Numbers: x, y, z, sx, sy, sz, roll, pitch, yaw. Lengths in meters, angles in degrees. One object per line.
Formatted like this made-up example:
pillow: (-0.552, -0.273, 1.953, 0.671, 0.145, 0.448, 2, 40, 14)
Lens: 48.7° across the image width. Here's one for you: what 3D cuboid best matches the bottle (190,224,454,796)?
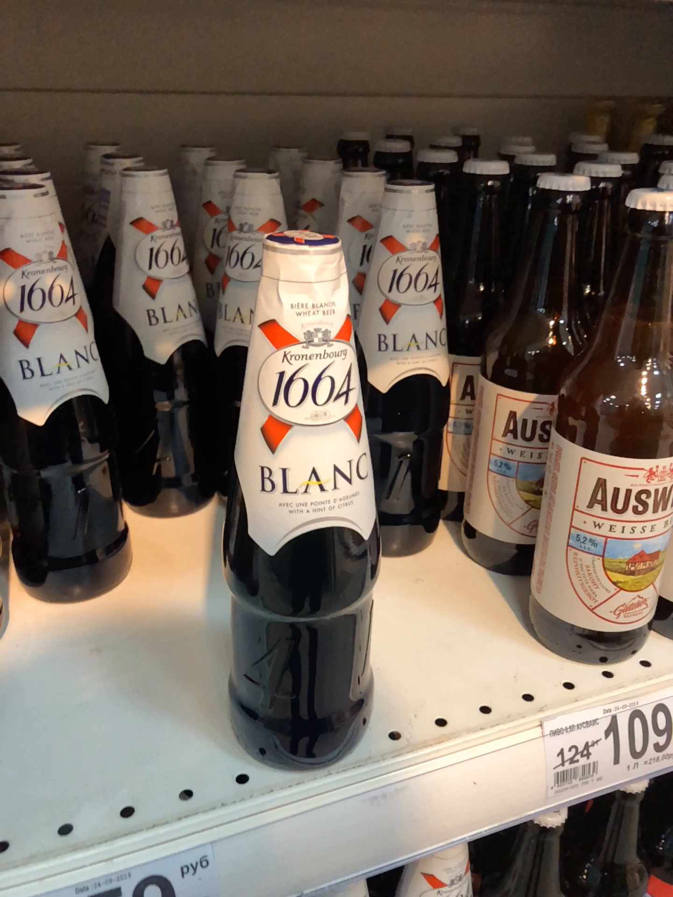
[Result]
bottle: (-0.011, 0.031, 0.320, 0.080, 0.234, 0.070, -6, 28, -15)
